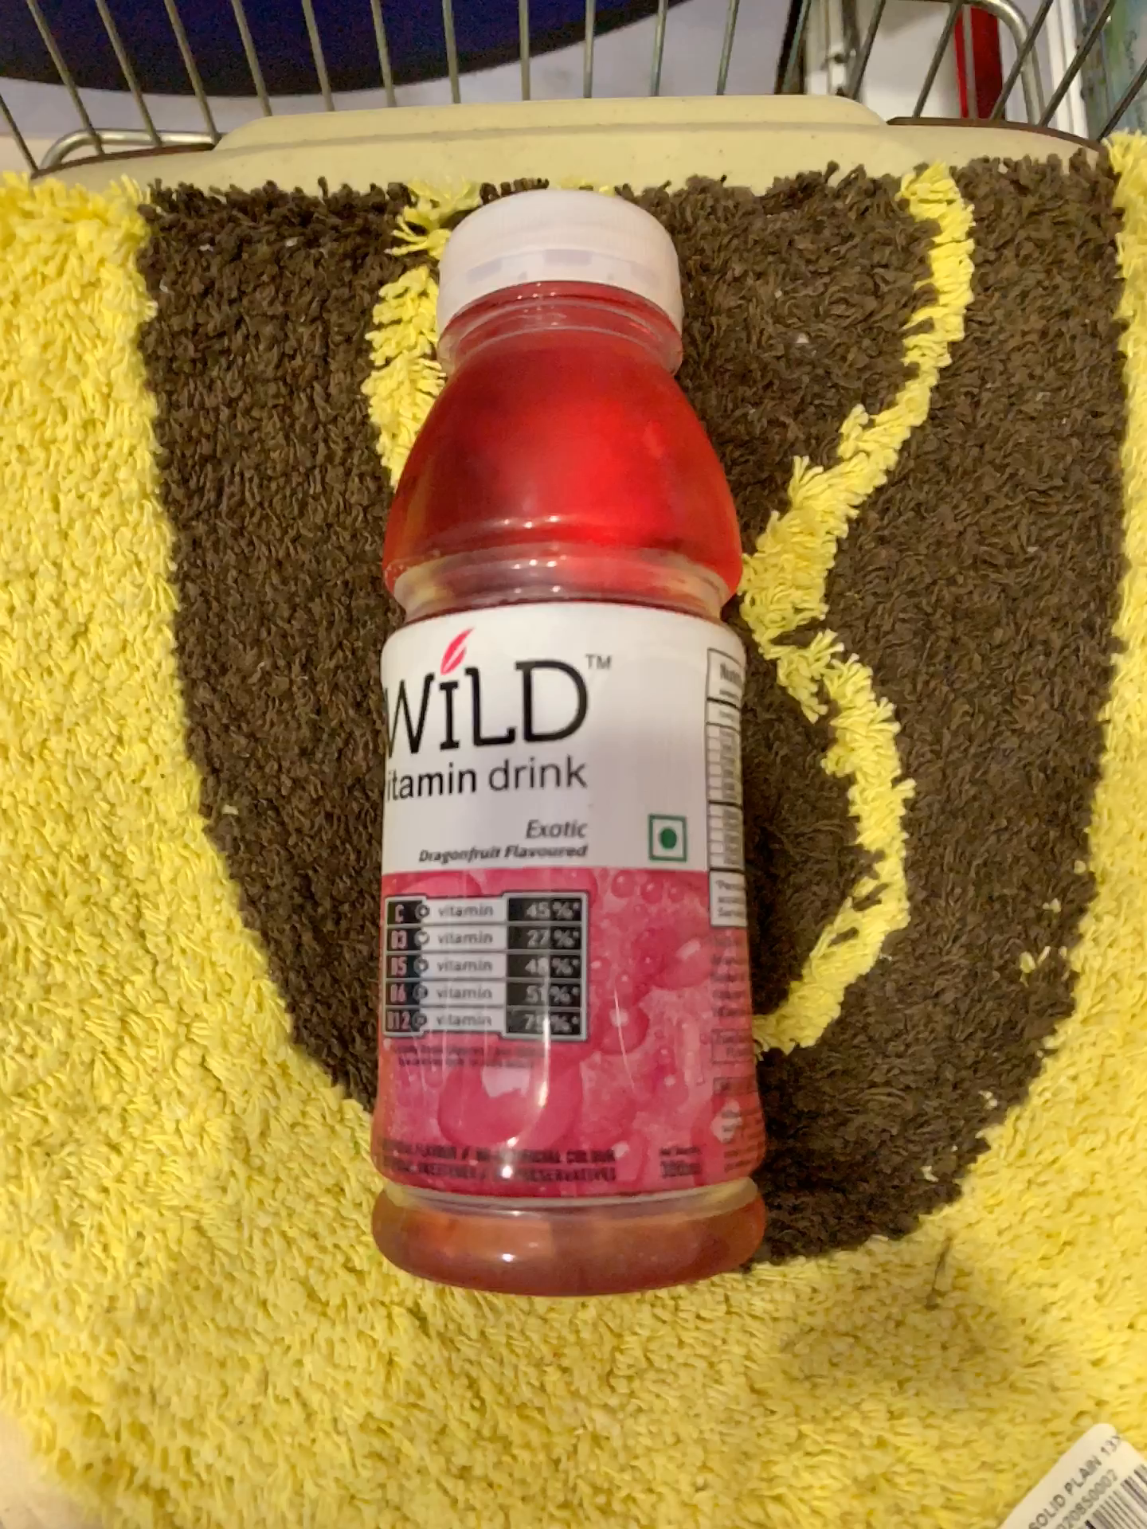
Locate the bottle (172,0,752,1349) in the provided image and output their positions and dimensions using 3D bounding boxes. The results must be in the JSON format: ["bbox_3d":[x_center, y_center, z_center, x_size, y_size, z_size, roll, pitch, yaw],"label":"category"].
[{"bbox_3d":[-0.013,-0.016,0.174,0.060,0.050,0.170,-5,78,23],"label":"bottle"}]
